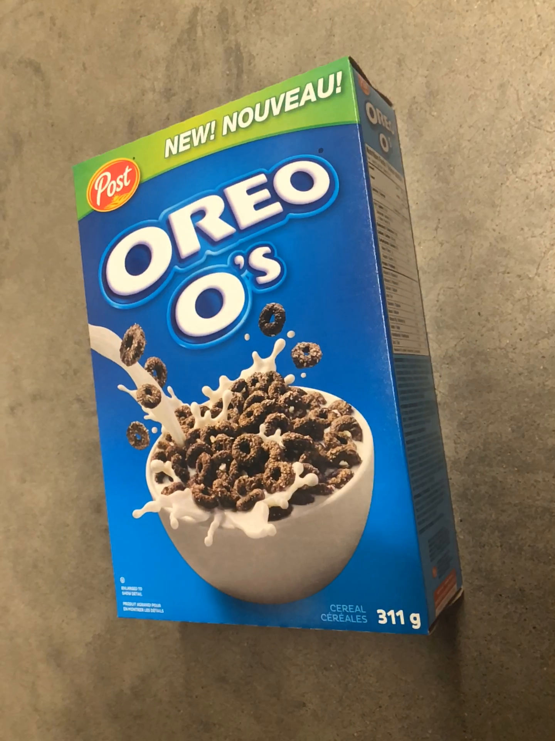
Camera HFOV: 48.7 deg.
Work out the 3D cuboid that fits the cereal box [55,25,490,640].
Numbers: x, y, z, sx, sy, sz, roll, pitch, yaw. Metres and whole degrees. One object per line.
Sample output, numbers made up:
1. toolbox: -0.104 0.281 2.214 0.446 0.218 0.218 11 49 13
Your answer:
1. cereal box: -0.014 -0.006 0.355 0.211 0.070 0.280 -10 85 28
